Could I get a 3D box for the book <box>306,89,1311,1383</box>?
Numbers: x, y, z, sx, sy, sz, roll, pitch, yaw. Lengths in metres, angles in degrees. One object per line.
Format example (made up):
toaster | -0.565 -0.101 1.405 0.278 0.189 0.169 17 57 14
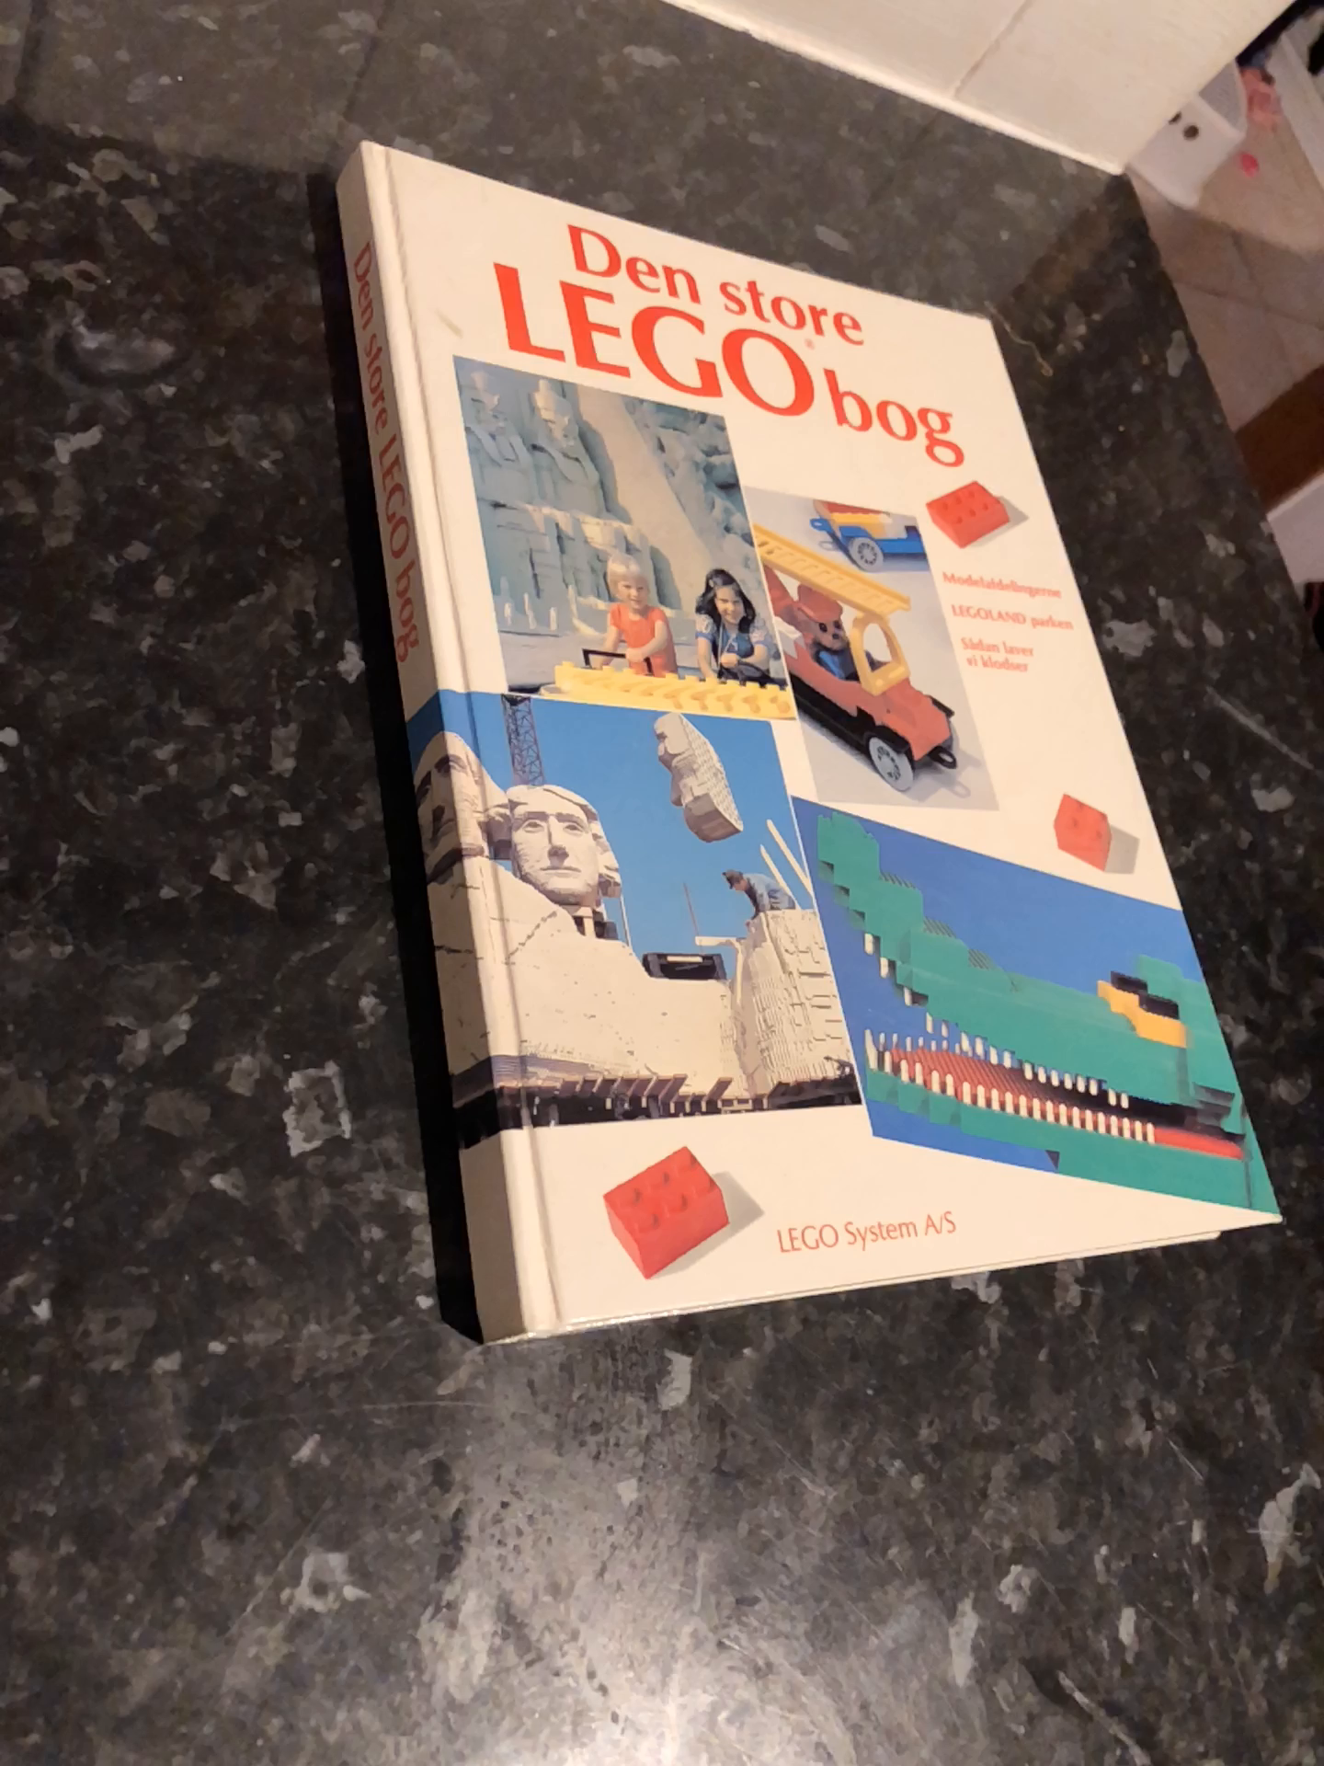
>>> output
book | 0.033 -0.045 0.360 0.211 0.030 0.291 2 65 -31
